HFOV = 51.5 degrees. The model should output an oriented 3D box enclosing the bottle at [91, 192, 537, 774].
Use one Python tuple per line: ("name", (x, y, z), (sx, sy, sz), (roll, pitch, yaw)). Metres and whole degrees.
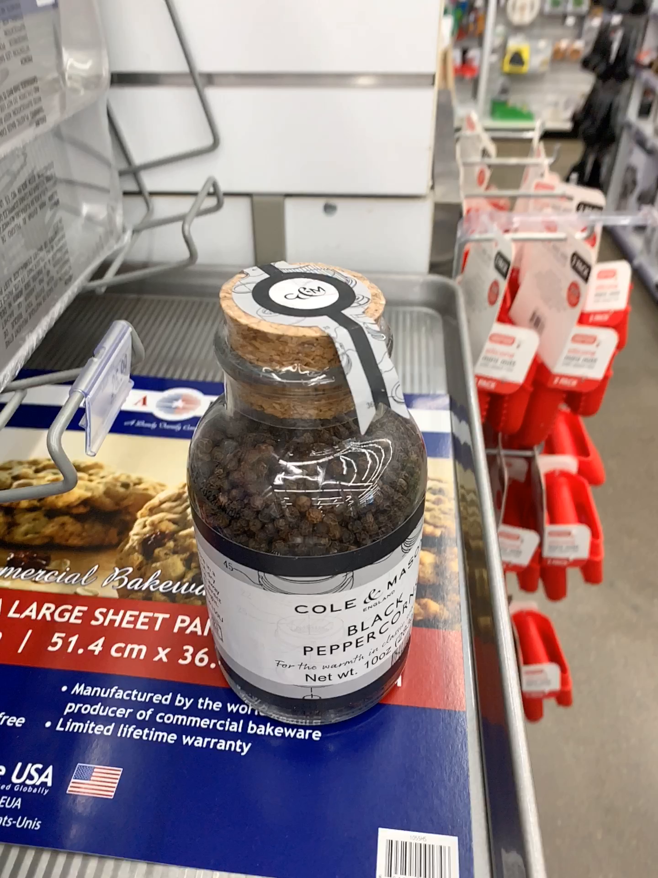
("bottle", (-0.007, 0.015, 0.238), (0.090, 0.159, 0.090), (0, 38, 0))
